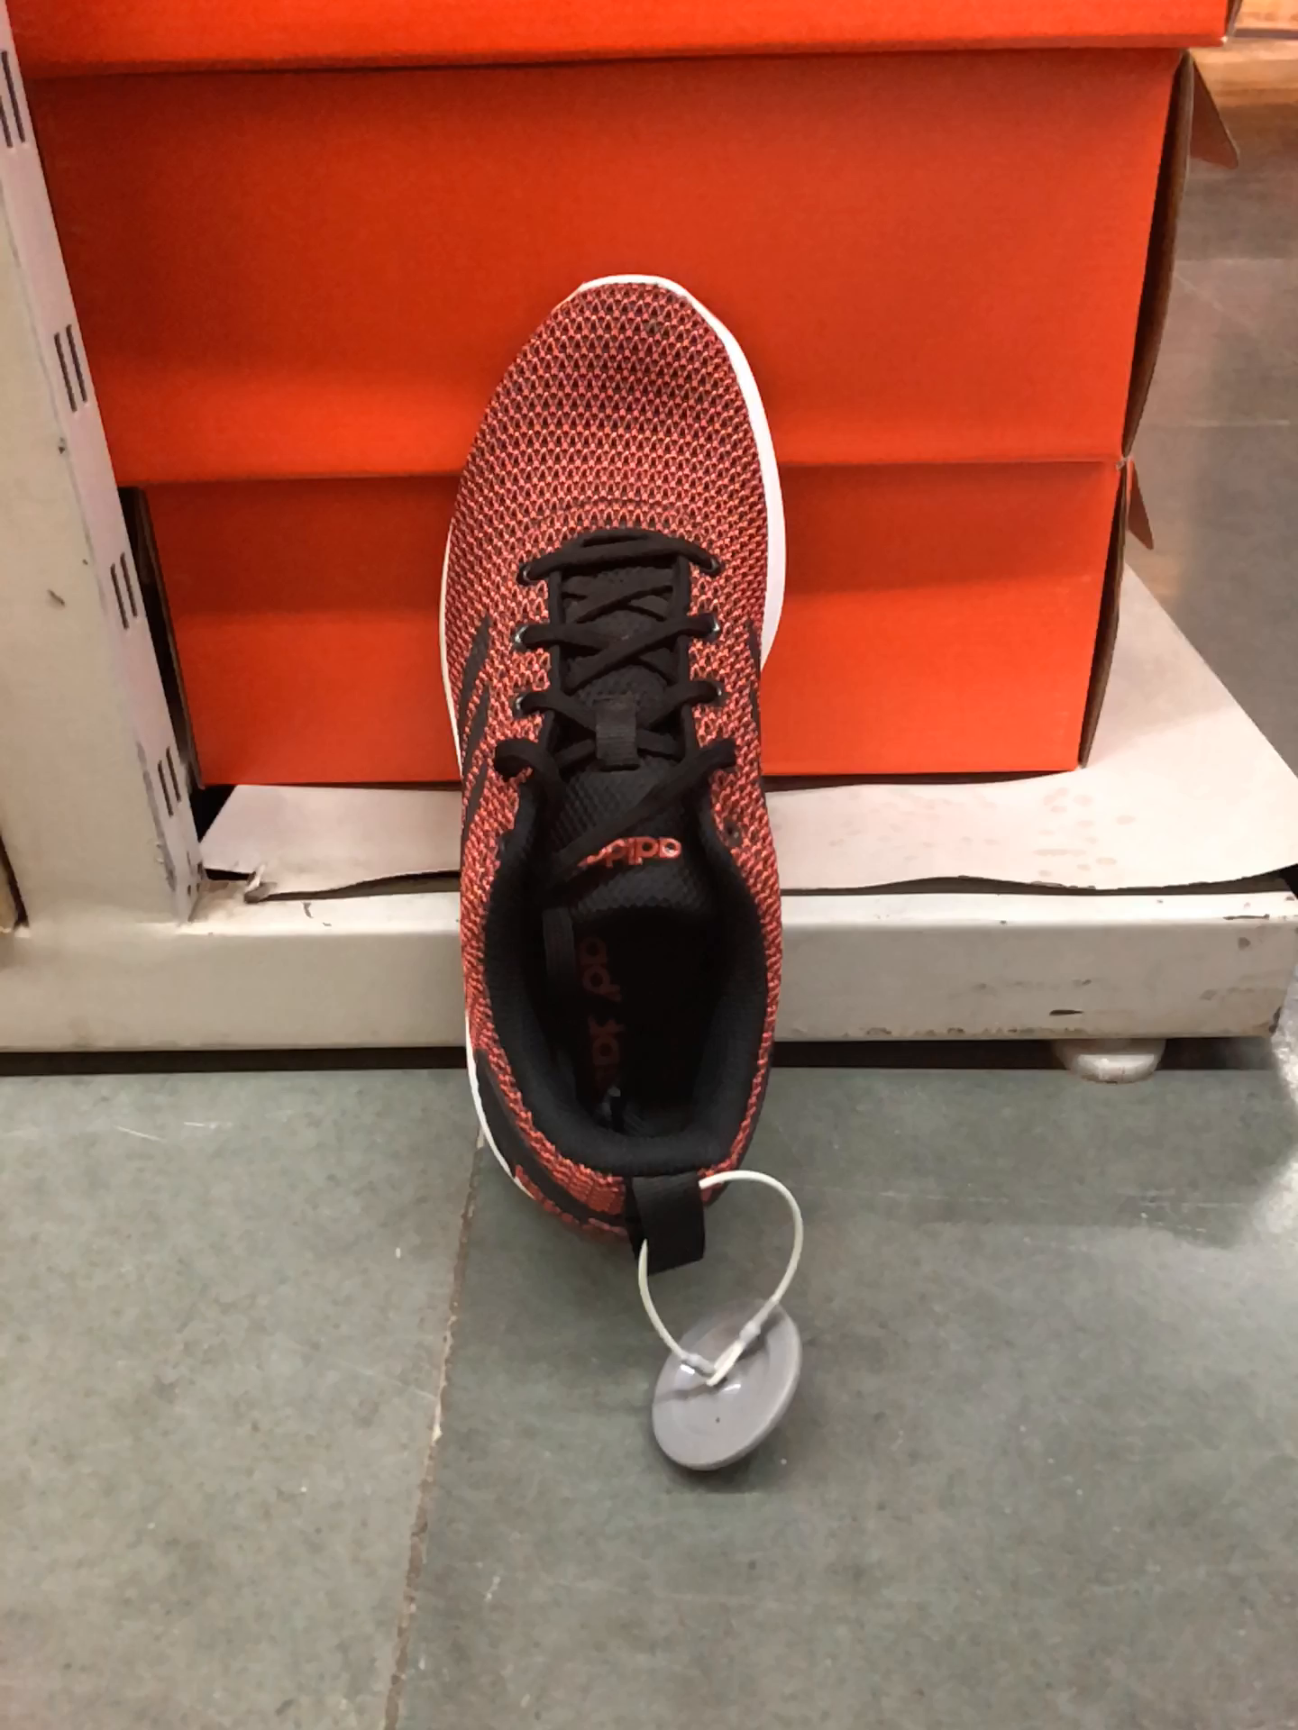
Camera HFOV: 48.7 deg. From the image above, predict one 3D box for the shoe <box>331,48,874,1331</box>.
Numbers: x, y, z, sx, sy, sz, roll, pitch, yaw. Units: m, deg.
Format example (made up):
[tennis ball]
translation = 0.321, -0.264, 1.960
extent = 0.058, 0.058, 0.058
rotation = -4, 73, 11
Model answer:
[shoe]
translation = -0.009, -0.038, 0.370
extent = 0.110, 0.272, 0.132
rotation = 1, -2, 0
